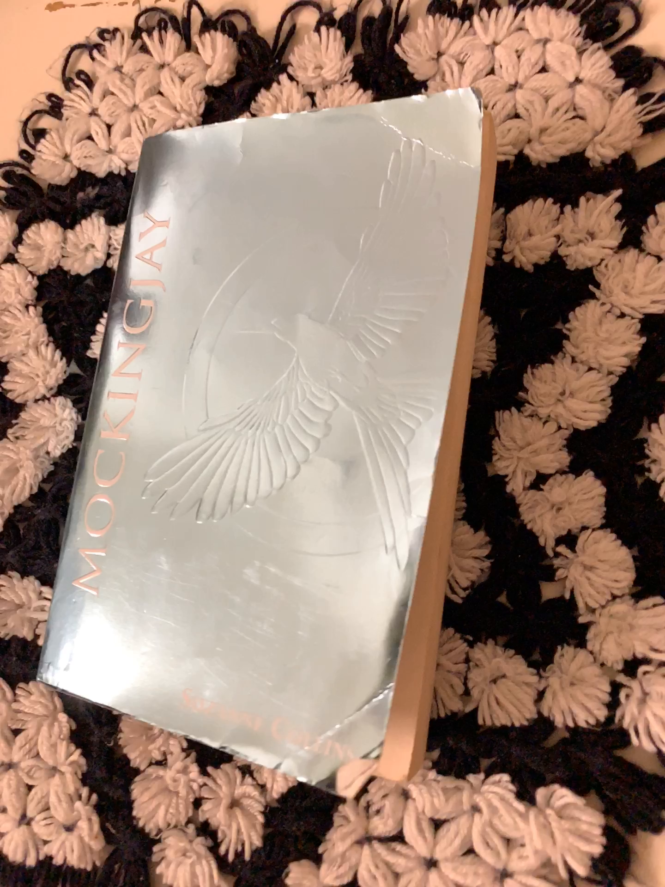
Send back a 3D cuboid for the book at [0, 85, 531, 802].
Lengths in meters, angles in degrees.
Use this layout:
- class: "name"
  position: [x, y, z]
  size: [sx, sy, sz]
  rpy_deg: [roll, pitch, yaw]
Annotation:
- class: "book"
  position: [-0.016, -0.011, 0.218]
  size: [0.136, 0.036, 0.193]
  rpy_deg: [5, 81, 16]
